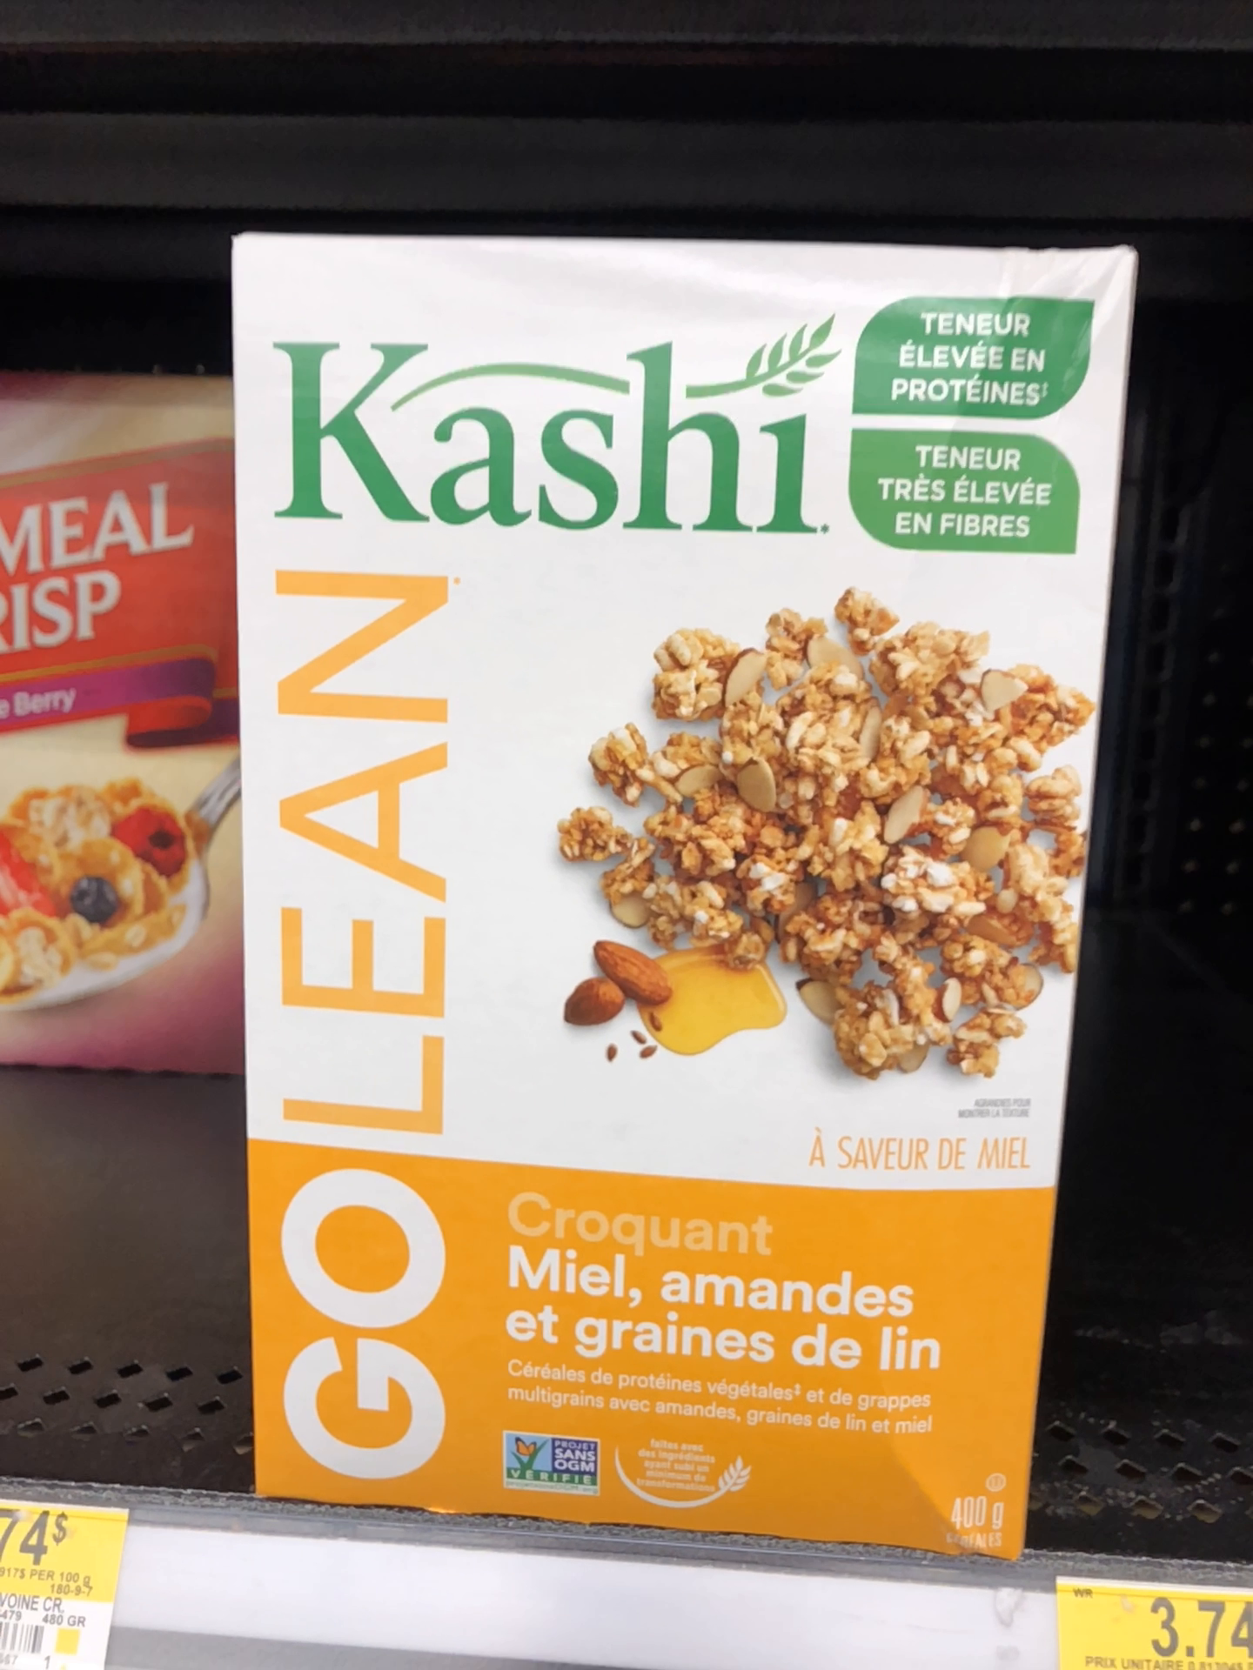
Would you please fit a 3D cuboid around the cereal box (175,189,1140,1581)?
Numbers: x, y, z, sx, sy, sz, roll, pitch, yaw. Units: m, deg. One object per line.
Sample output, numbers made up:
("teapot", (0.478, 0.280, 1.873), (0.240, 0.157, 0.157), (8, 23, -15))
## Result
("cereal box", (0.001, 0.014, 0.296), (0.170, 0.269, 0.050), (3, 11, 5))
